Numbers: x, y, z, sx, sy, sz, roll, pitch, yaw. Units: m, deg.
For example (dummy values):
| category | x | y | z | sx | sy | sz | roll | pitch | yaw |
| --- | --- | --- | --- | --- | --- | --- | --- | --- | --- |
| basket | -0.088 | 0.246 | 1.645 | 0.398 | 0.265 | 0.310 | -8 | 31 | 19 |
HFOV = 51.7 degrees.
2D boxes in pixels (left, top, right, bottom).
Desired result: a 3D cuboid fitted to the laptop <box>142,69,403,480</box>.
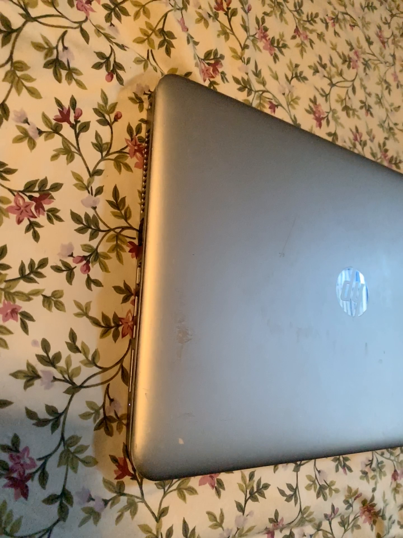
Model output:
| category | x | y | z | sx | sy | sz | roll | pitch | yaw |
| --- | --- | --- | --- | --- | --- | --- | --- | --- | --- |
| laptop | 0.118 | 0.015 | 0.320 | 0.338 | 0.010 | 0.228 | 10 | 75 | -32 |
